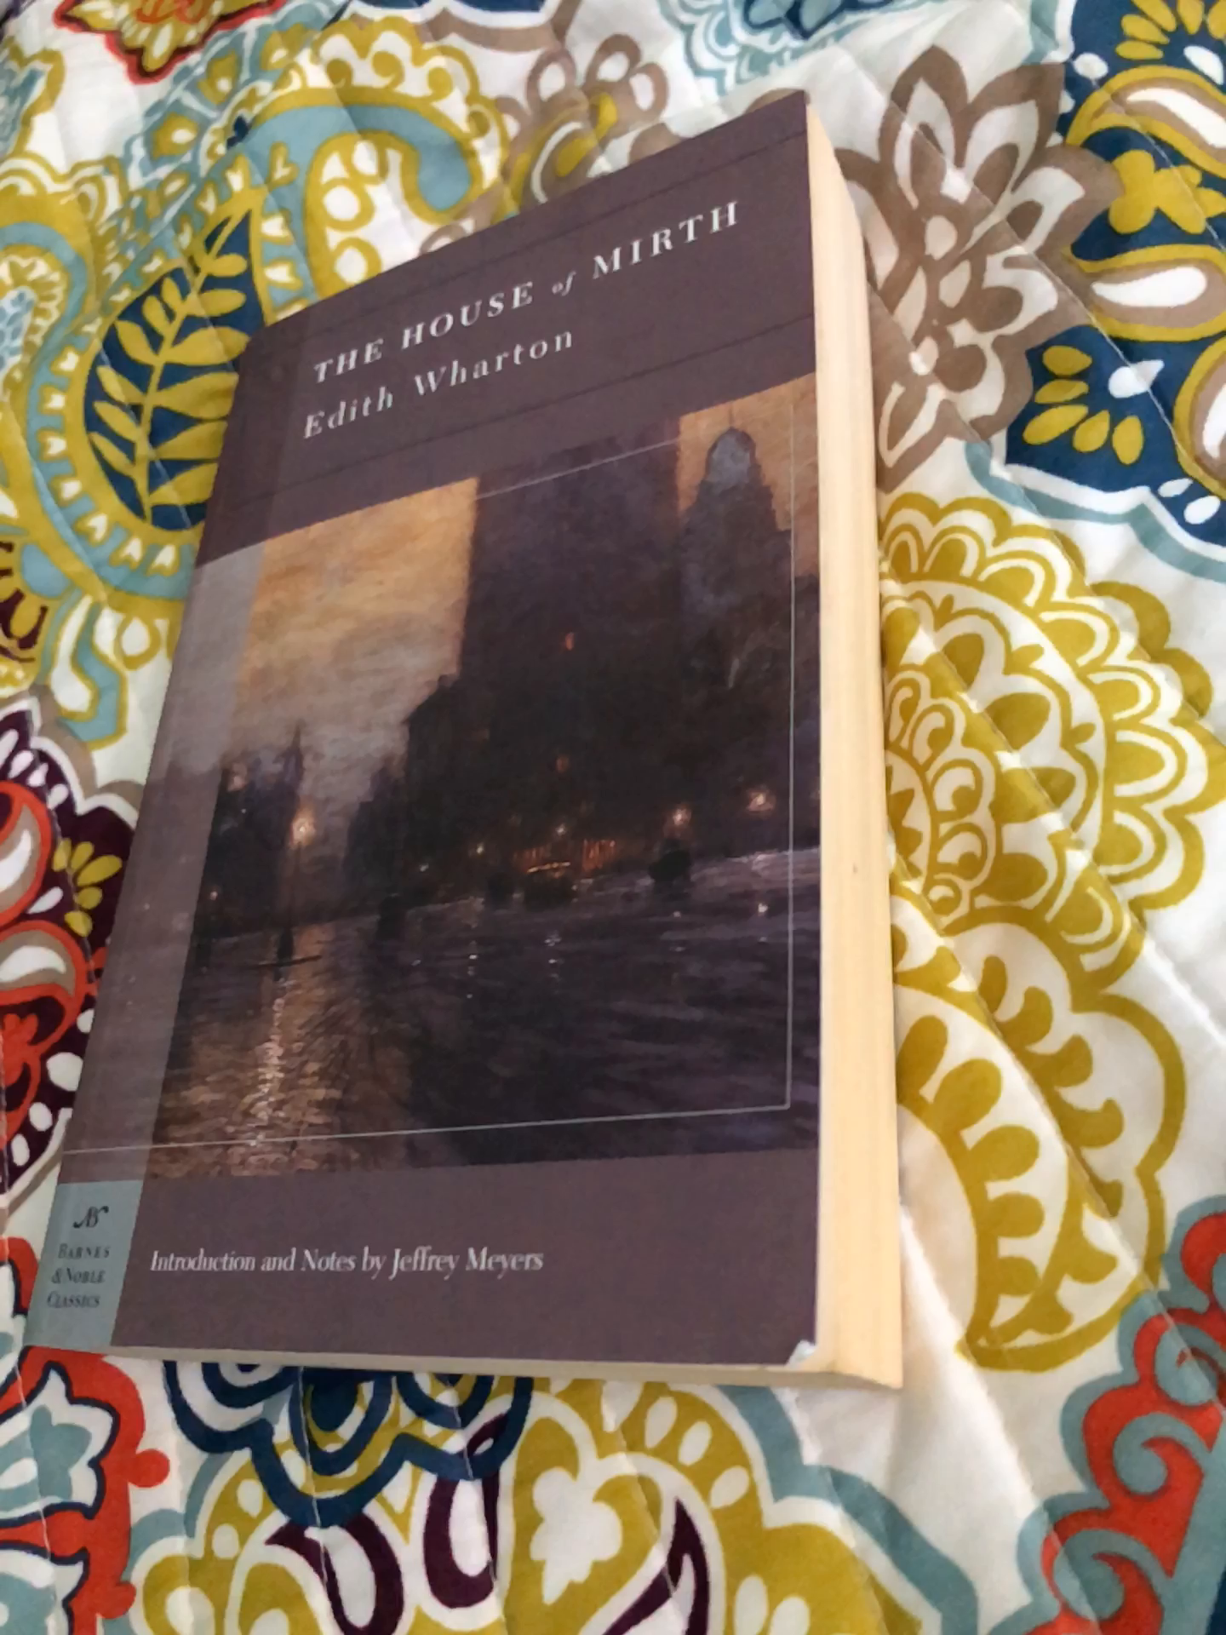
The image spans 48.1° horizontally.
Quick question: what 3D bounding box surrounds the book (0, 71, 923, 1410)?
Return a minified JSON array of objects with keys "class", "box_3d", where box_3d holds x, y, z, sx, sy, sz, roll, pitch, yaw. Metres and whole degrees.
[{"class":"book","box_3d":[-0.026,-0.011,0.233,0.142,0.040,0.195,-9,66,29]}]
